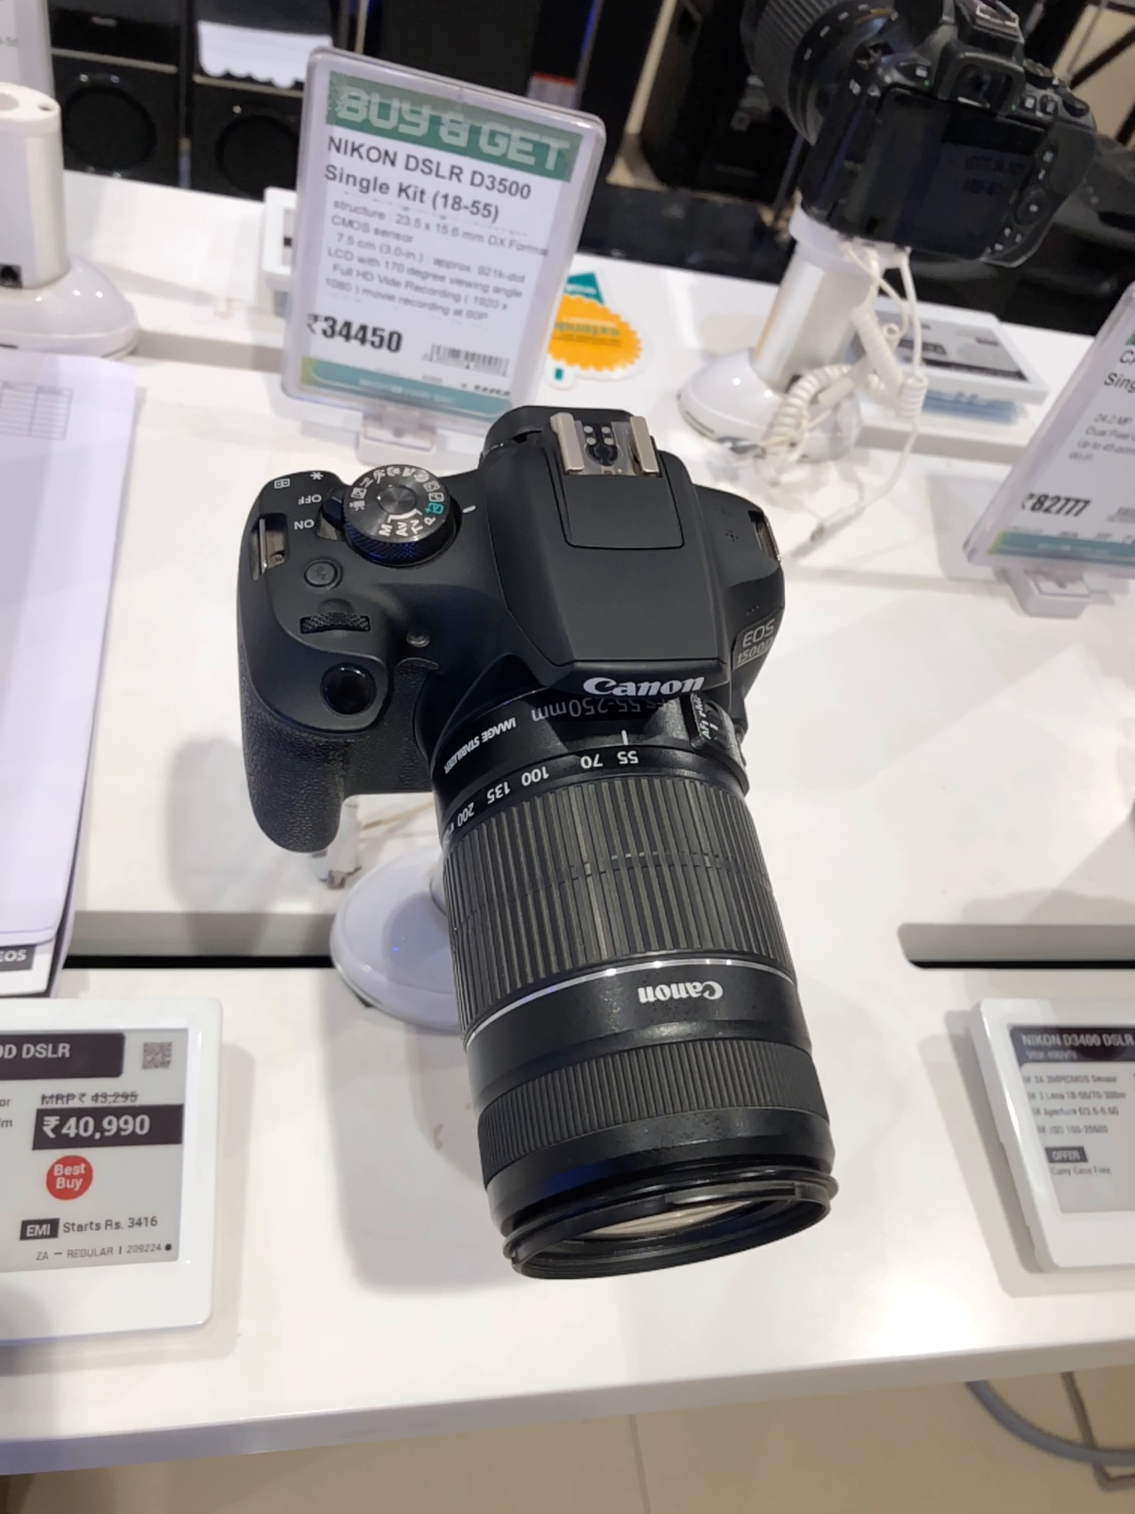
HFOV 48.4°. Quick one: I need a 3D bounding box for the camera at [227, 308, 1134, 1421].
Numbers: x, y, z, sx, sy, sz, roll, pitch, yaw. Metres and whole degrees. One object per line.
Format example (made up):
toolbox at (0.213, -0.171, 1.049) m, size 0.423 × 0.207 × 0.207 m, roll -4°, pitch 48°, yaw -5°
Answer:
camera at (0.009, 0.008, 0.270) m, size 0.140 × 0.089 × 0.201 m, roll -2°, pitch 53°, yaw -19°
